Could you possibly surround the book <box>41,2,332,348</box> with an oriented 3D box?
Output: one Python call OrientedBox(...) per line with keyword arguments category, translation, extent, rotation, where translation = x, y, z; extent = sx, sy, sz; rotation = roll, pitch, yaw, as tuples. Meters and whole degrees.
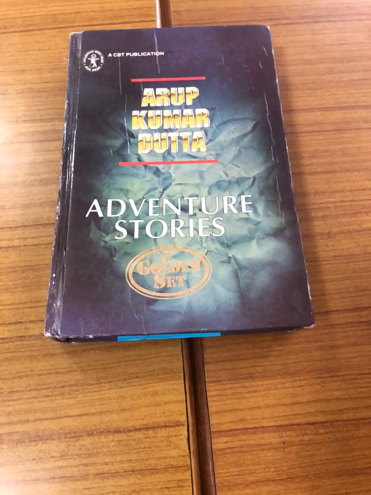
OrientedBox(category="book", translation=(-0.004, -0.054, 0.260), extent=(0.145, 0.036, 0.218), rotation=(-2, 71, -1))
